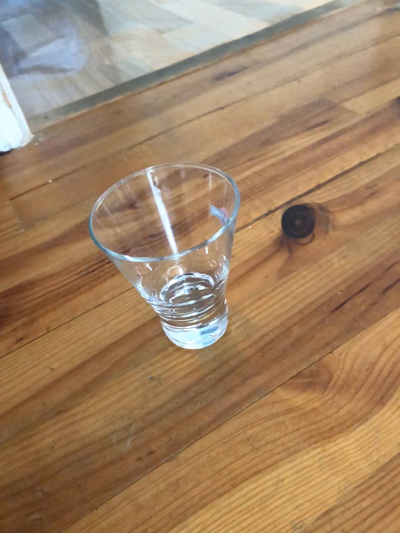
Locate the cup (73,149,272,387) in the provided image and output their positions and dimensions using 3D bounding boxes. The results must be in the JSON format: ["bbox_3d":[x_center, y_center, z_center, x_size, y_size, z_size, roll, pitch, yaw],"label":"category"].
[{"bbox_3d":[-0.016,-0.001,0.289,0.088,0.097,0.092,-6,44,5],"label":"cup"}]
